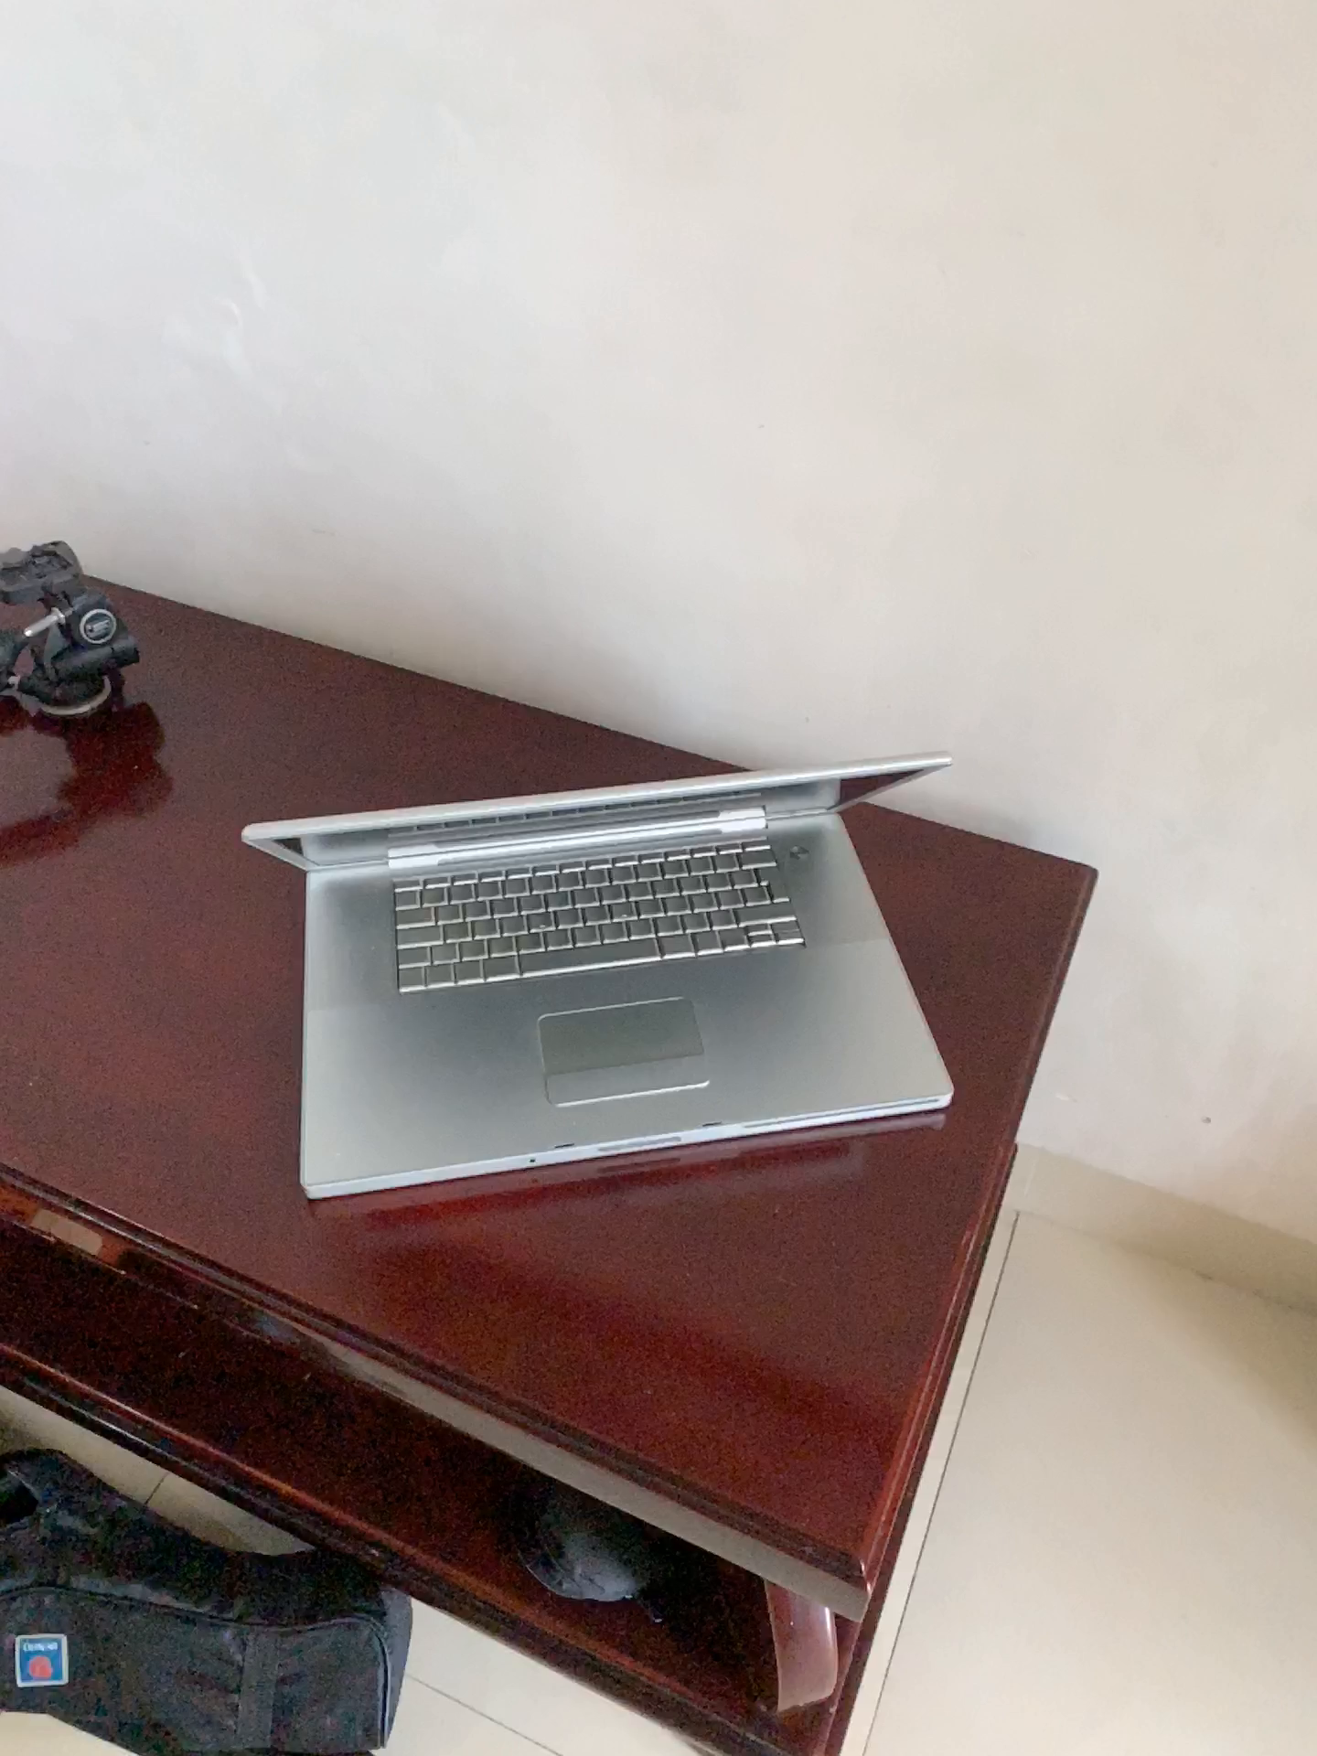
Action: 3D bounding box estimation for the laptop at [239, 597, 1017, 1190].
[{"bbox_3d":[-0.033,-0.003,0.840,0.399,0.193,0.266,-6,45,-9],"label":"laptop"}]
